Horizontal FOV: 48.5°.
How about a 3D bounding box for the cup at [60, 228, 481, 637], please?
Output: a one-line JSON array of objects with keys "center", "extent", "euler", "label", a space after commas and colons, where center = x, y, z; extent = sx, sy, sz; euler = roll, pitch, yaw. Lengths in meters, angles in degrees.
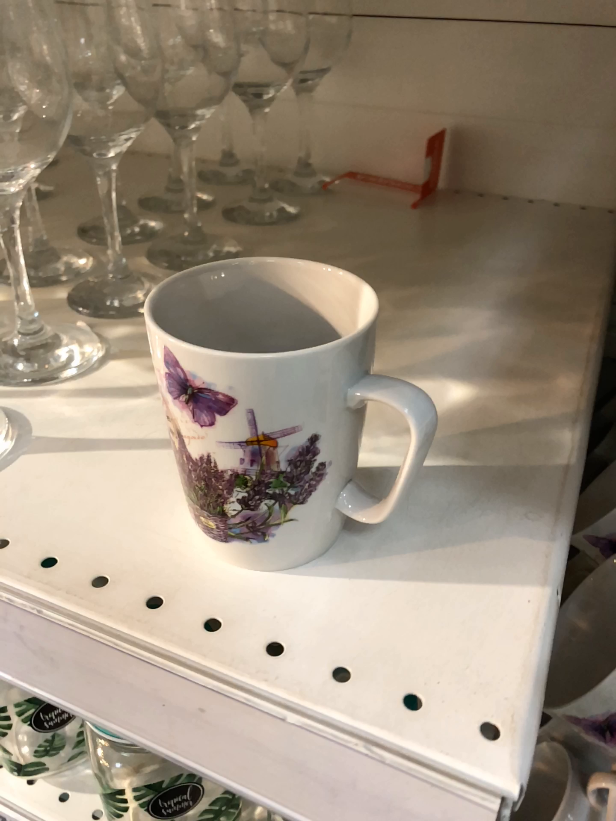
[{"center": [-0.012, 0.000, 0.261], "extent": [0.119, 0.094, 0.082], "euler": [21, 41, 28], "label": "cup"}]
